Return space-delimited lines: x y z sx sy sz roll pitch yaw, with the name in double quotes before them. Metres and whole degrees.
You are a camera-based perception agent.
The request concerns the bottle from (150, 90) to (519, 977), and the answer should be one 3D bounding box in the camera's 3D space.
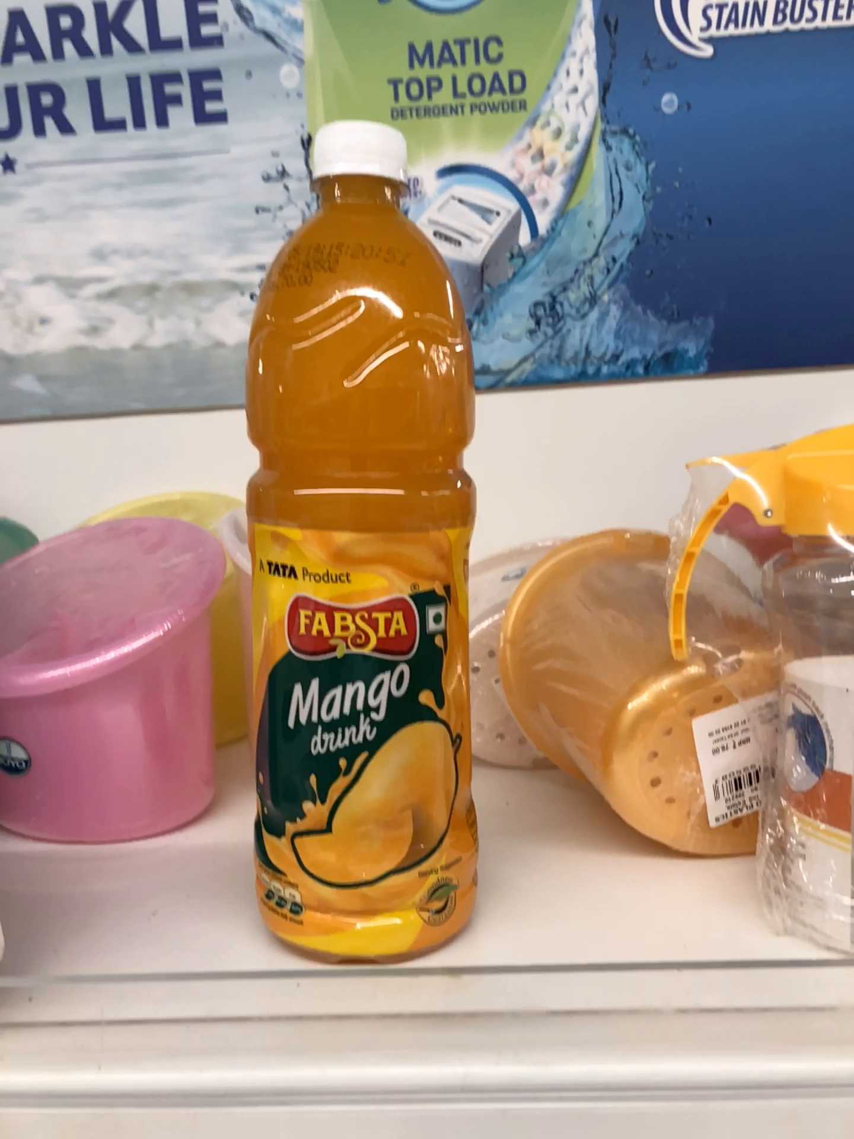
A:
"bottle" -0.025 -0.009 0.321 0.090 0.259 0.080 -4 9 -2
